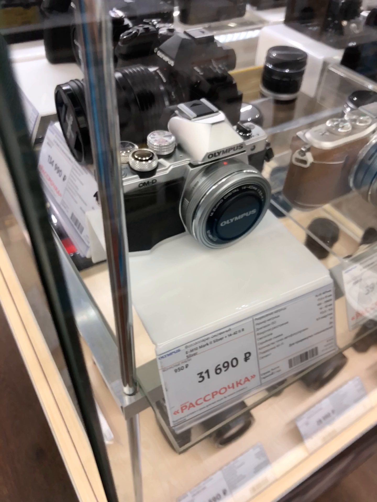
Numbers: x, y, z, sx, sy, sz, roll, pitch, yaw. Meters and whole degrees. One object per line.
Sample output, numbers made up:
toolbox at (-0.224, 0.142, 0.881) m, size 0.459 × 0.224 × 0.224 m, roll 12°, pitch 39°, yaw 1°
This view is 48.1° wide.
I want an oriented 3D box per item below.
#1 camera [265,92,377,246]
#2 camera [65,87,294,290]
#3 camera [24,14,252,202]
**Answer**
camera at (0.141, -0.070, 0.338) m, size 0.140 × 0.062 × 0.065 m, roll -23°, pitch 51°, yaw -24°
camera at (-0.006, -0.046, 0.286) m, size 0.120 × 0.080 × 0.072 m, roll -23°, pitch 51°, yaw -24°
camera at (-0.040, -0.122, 0.343) m, size 0.137 × 0.087 × 0.102 m, roll -21°, pitch 50°, yaw -23°
